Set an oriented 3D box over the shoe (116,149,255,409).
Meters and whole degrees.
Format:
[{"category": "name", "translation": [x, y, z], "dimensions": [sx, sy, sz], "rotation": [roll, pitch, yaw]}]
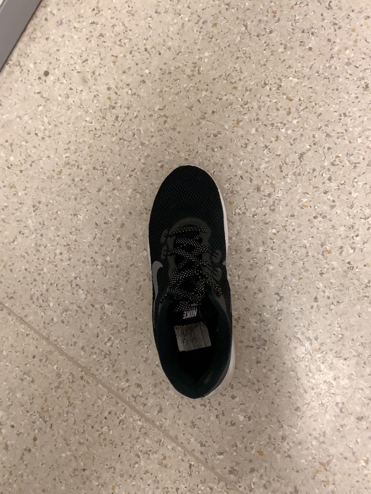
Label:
[{"category": "shoe", "translation": [0.002, 0.036, 0.432], "dimensions": [0.113, 0.094, 0.253], "rotation": [-9, 80, 12]}]
